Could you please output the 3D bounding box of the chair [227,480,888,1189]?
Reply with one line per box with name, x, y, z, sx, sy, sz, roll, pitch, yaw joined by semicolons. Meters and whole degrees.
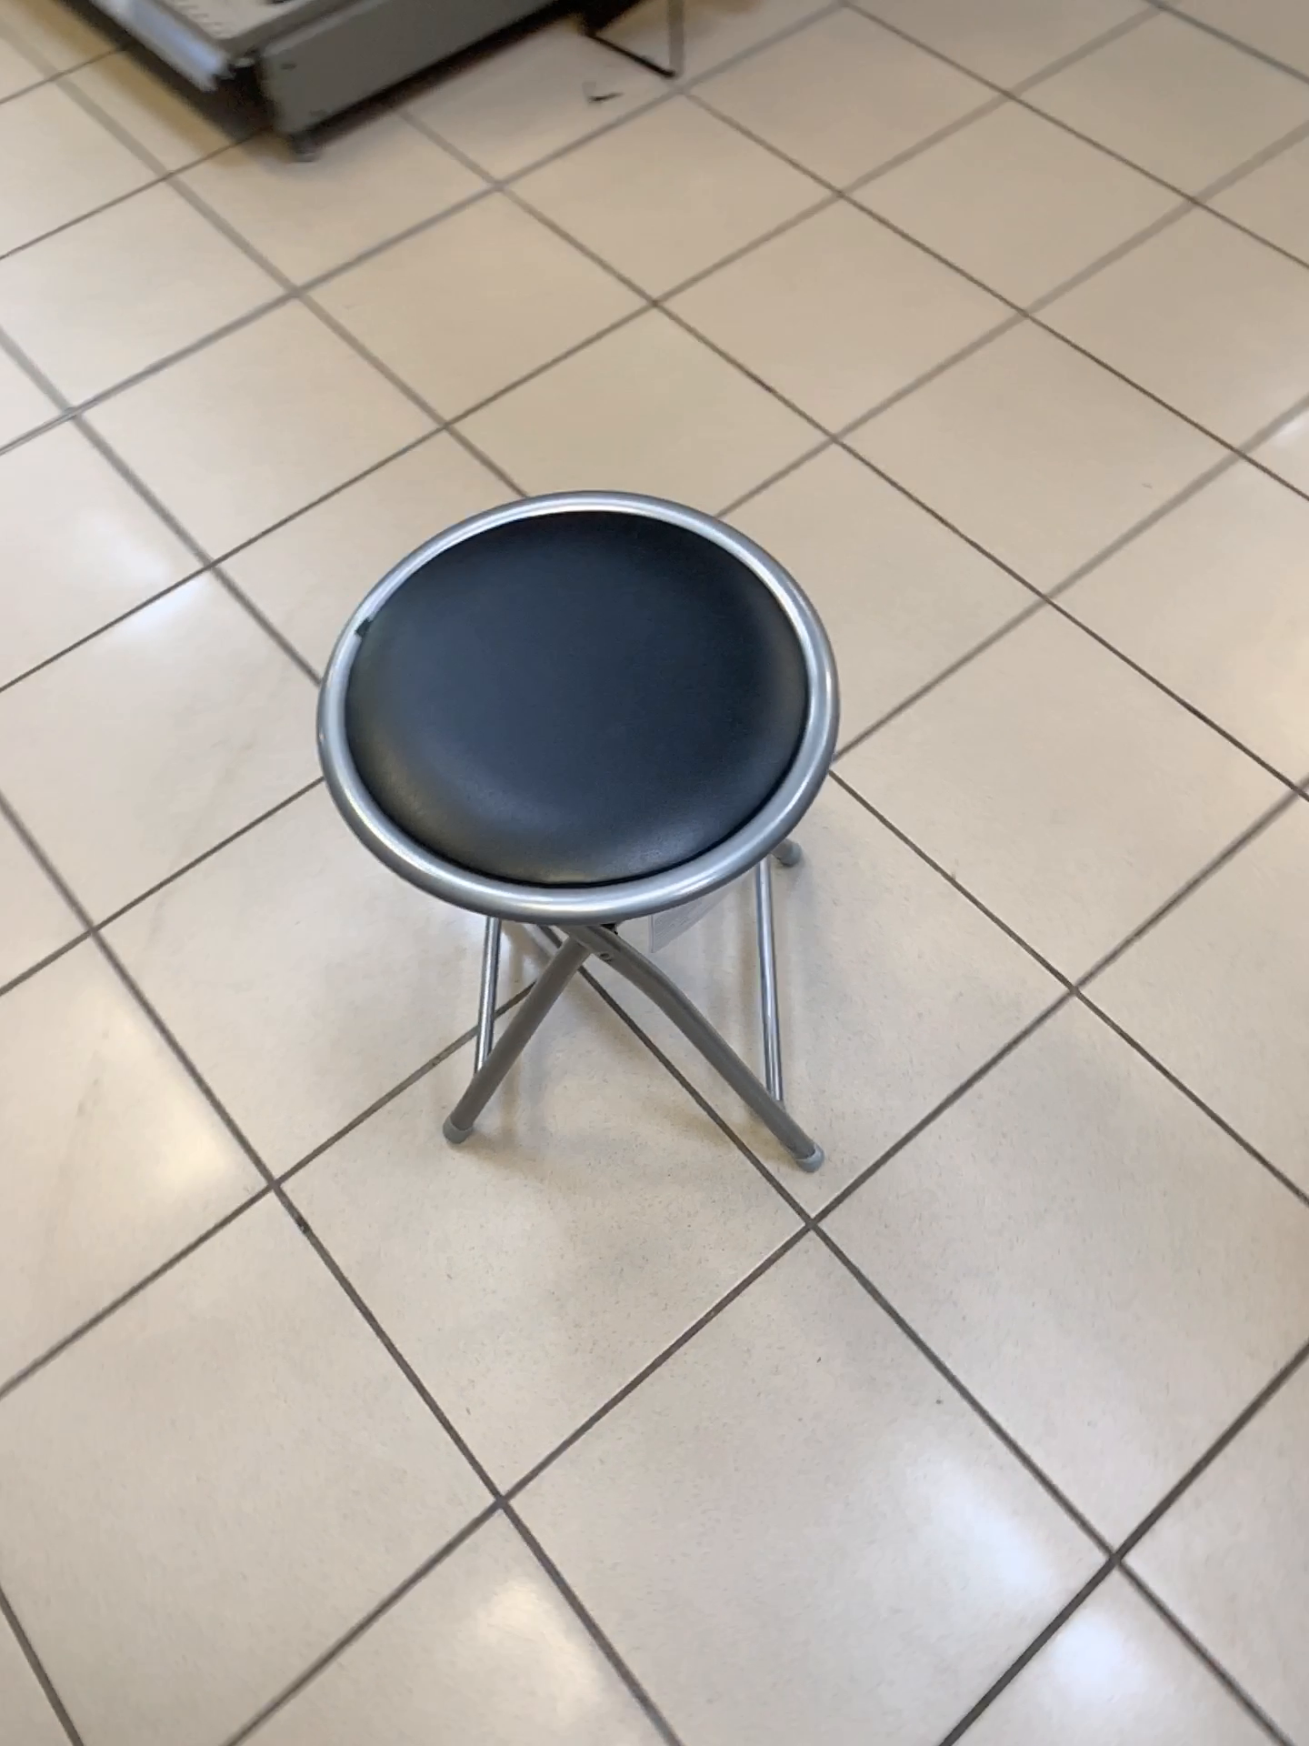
chair;-0.039;-0.001;0.930;0.334;0.402;0.329;0;61;3
